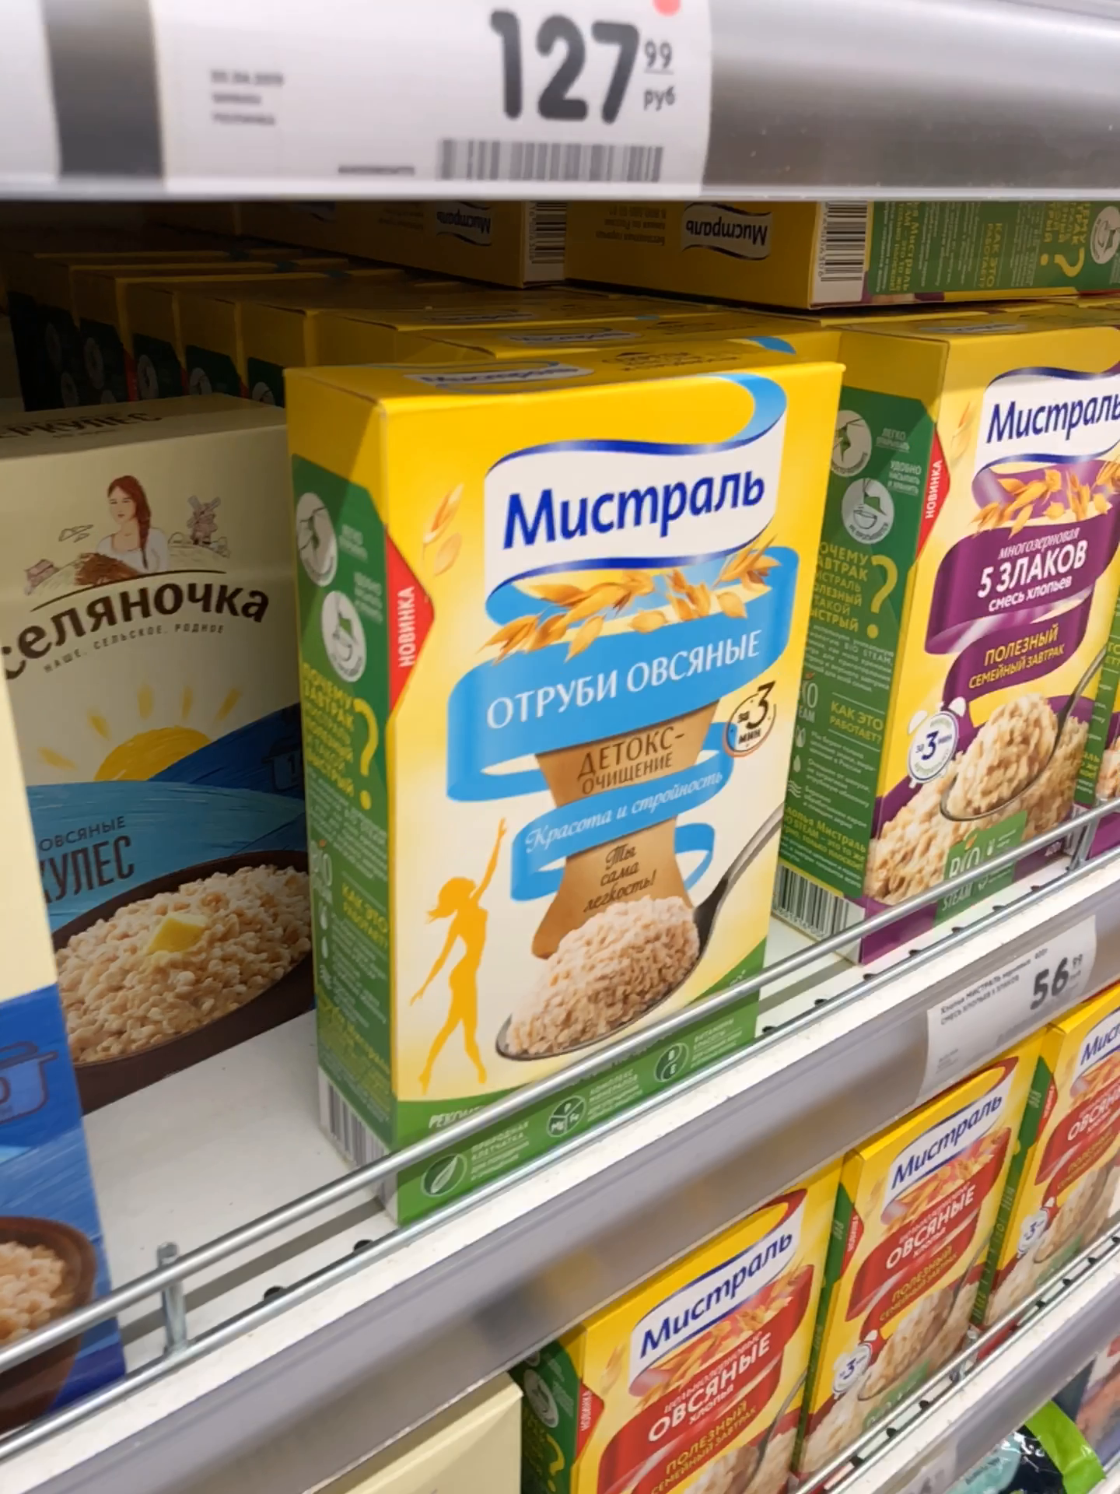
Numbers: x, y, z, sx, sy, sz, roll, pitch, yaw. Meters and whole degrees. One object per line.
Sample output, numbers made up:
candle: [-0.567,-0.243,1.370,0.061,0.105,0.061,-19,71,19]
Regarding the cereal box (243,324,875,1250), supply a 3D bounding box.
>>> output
cereal box: [0.002,0.006,0.323,0.140,0.209,0.050,-17,31,-33]
